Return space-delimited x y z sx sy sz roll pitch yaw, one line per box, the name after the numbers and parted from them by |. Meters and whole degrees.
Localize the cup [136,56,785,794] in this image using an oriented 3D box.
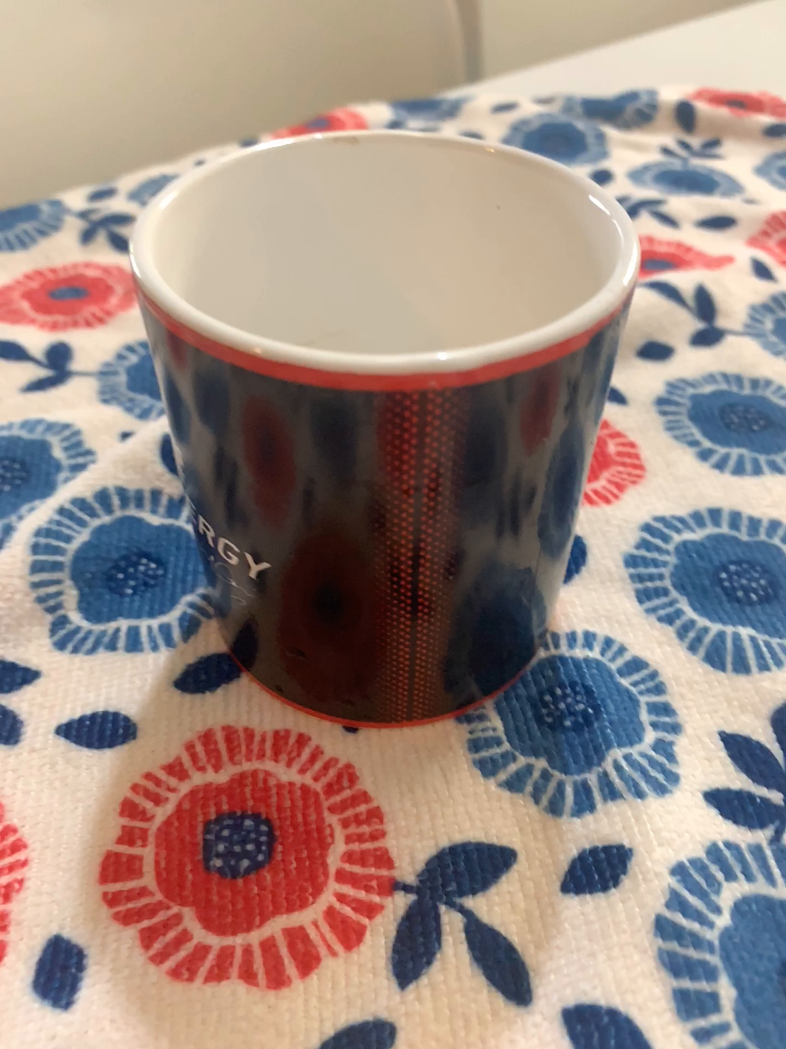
0.000 -0.026 0.165 0.080 0.089 0.111 -7 44 -9 | cup
